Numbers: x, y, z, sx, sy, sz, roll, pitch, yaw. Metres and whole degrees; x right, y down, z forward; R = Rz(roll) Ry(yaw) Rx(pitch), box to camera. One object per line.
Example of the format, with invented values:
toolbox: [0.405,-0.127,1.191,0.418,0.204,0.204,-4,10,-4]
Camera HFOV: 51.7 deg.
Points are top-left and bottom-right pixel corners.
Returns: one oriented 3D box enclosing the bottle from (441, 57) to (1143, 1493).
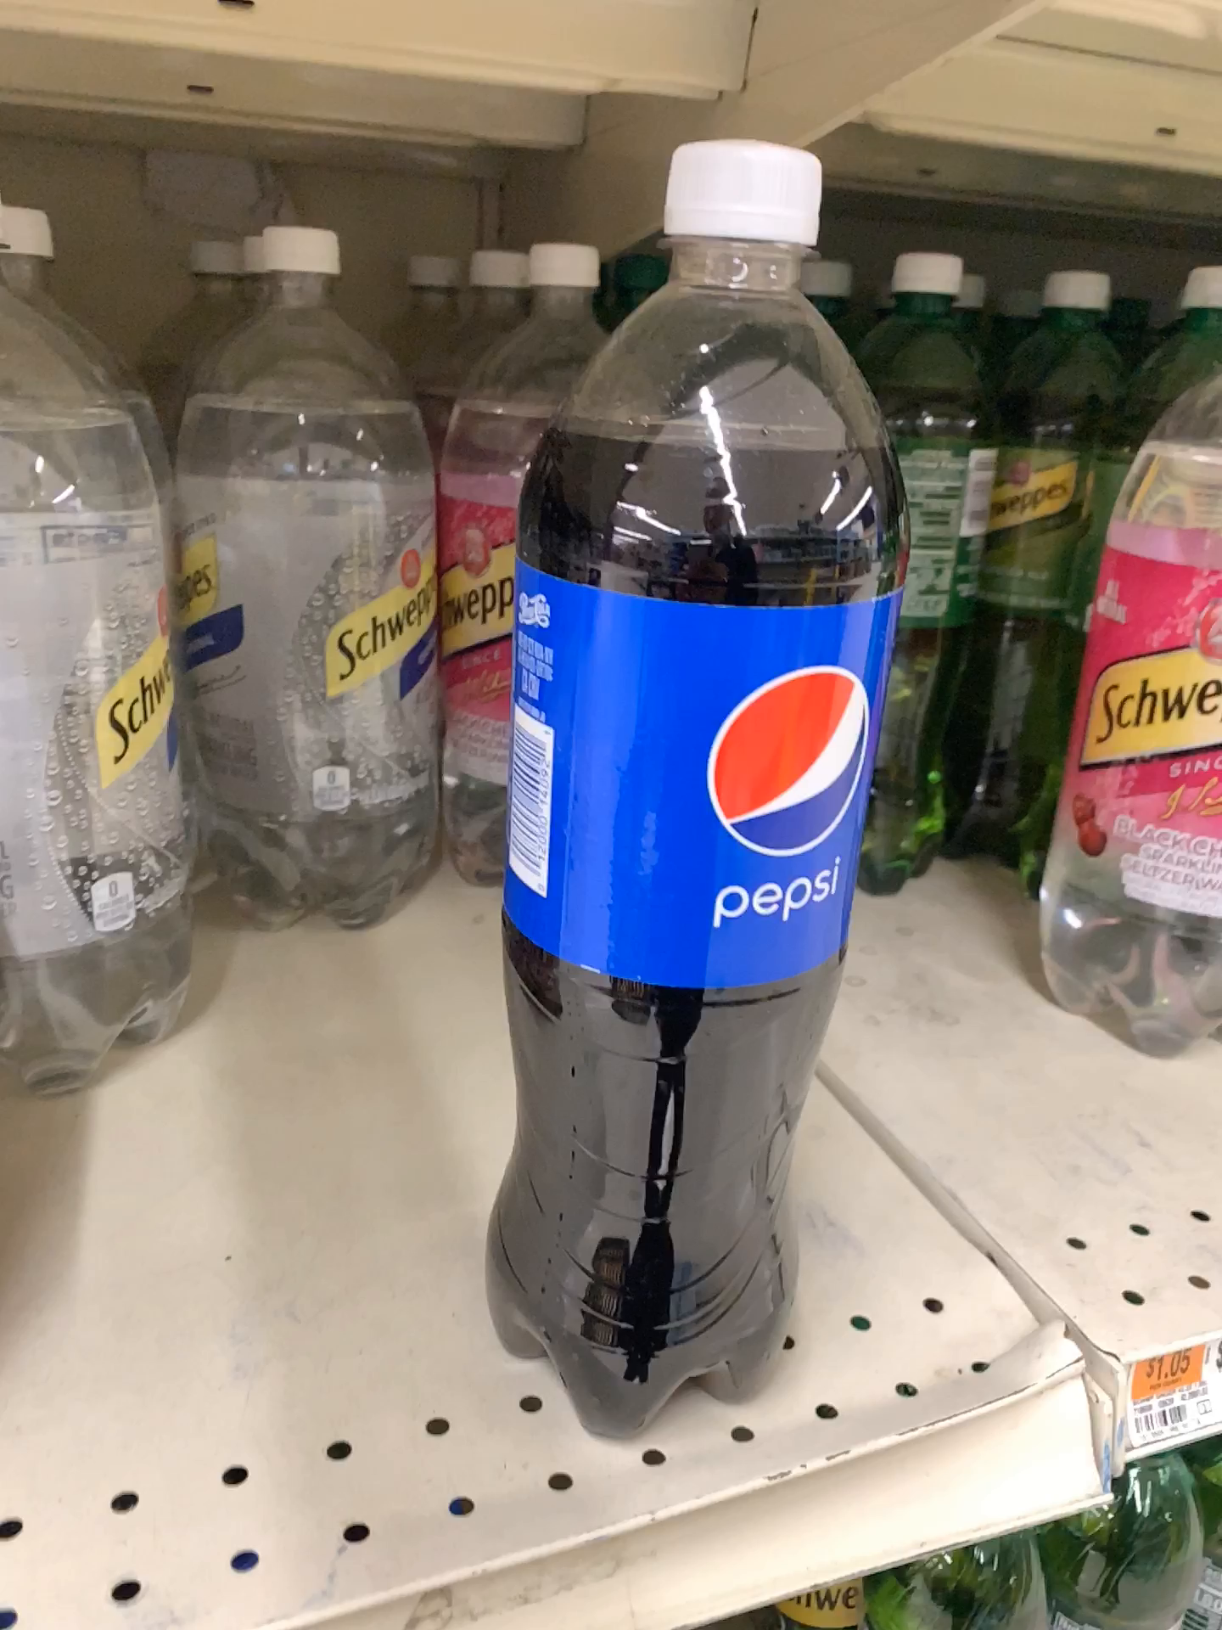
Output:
bottle: [0.023,0.000,0.290,0.101,0.279,0.090,-5,22,-22]
